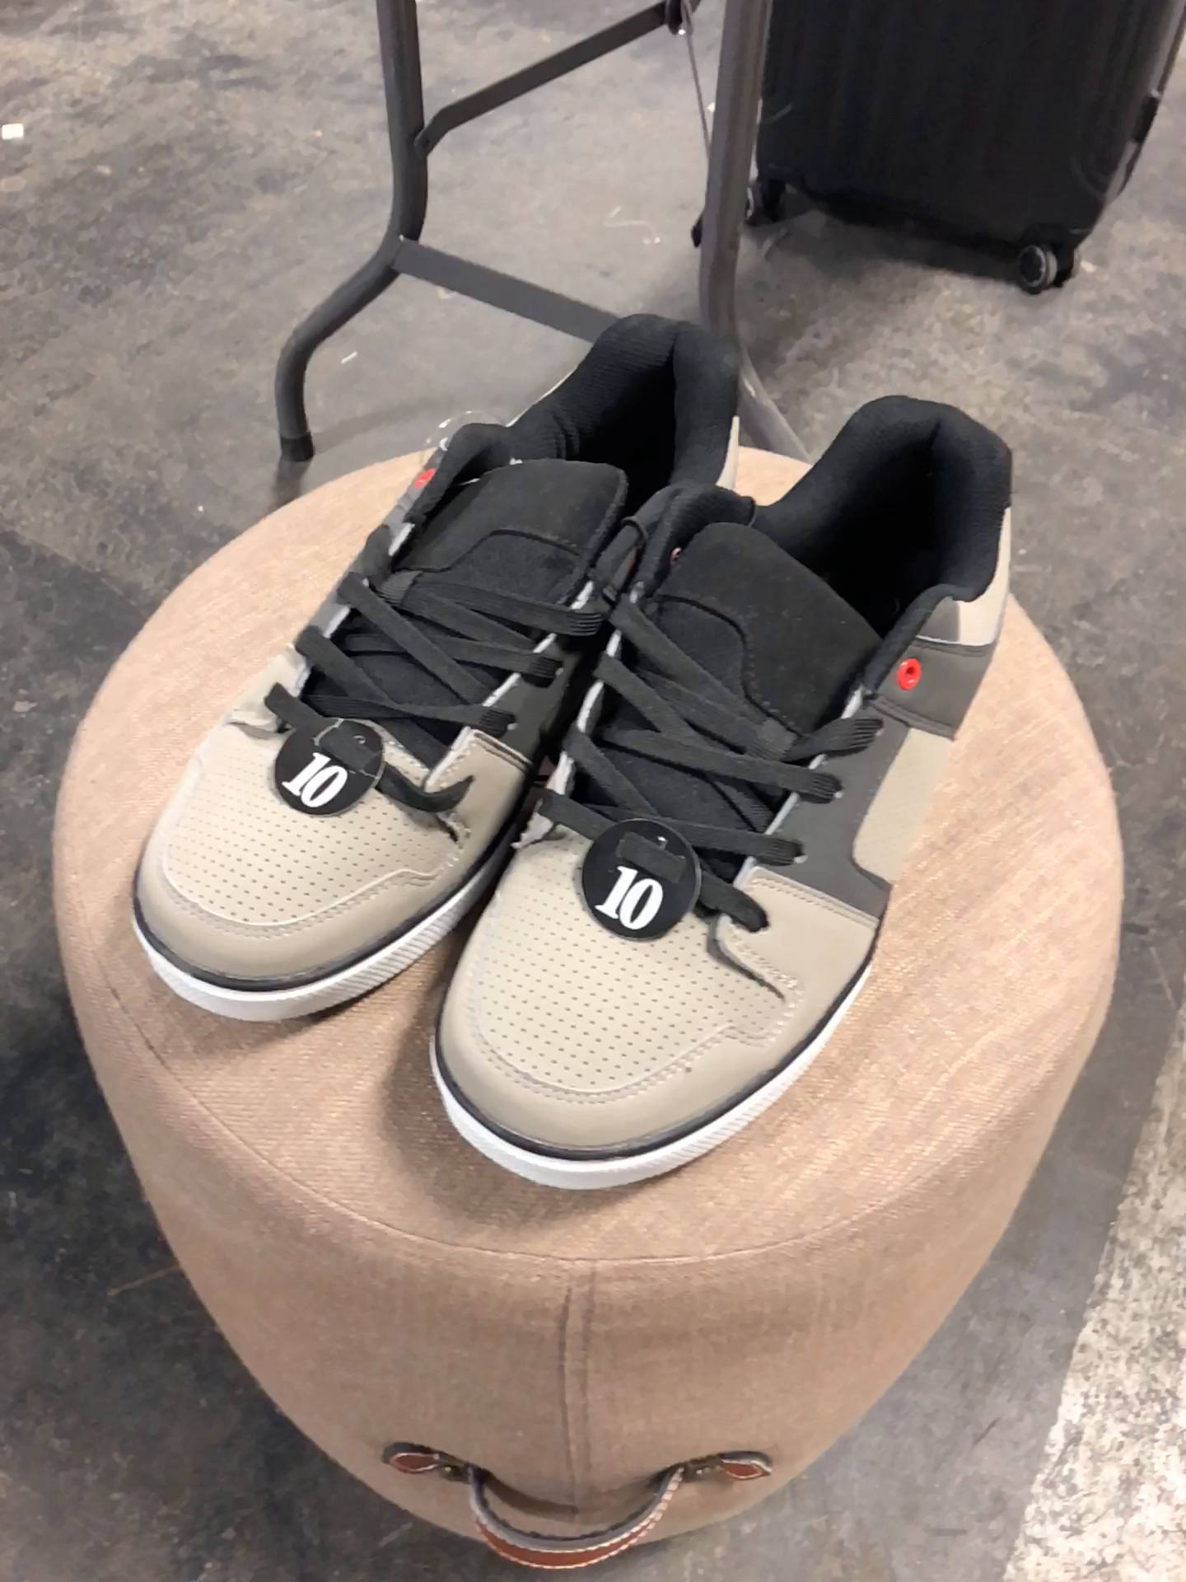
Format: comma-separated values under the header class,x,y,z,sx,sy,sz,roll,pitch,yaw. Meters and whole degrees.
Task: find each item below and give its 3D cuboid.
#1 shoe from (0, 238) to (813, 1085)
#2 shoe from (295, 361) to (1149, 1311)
class,x,y,z,sx,sy,sz,roll,pitch,yaw
shoe,-0.054,-0.062,0.426,0.120,0.089,0.281,28,55,20
shoe,0.054,-0.008,0.396,0.110,0.089,0.281,28,55,20
